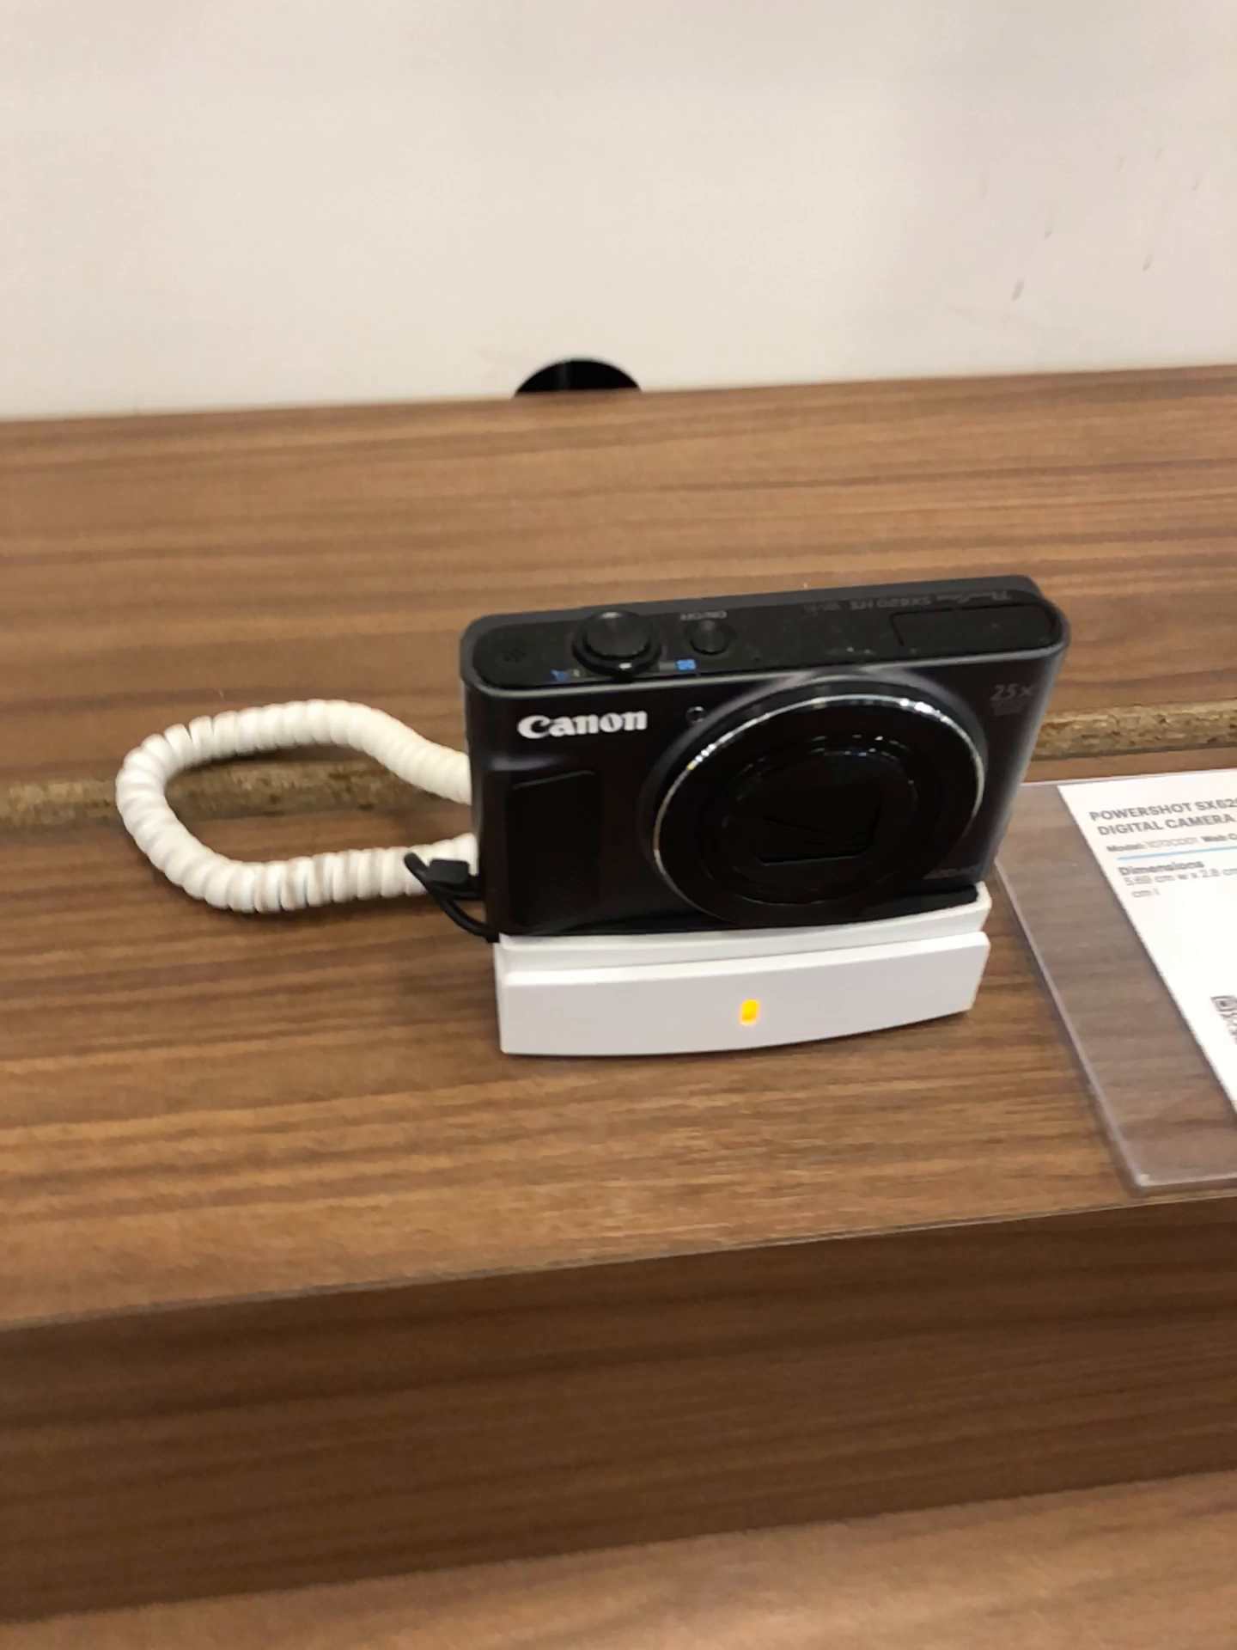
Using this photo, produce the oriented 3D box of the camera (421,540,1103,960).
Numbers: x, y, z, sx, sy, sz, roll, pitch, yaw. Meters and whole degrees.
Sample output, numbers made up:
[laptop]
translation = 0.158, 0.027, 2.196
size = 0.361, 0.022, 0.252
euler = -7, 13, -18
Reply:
[camera]
translation = 0.020, -0.012, 0.231
size = 0.100, 0.060, 0.030
euler = -3, 44, -5
